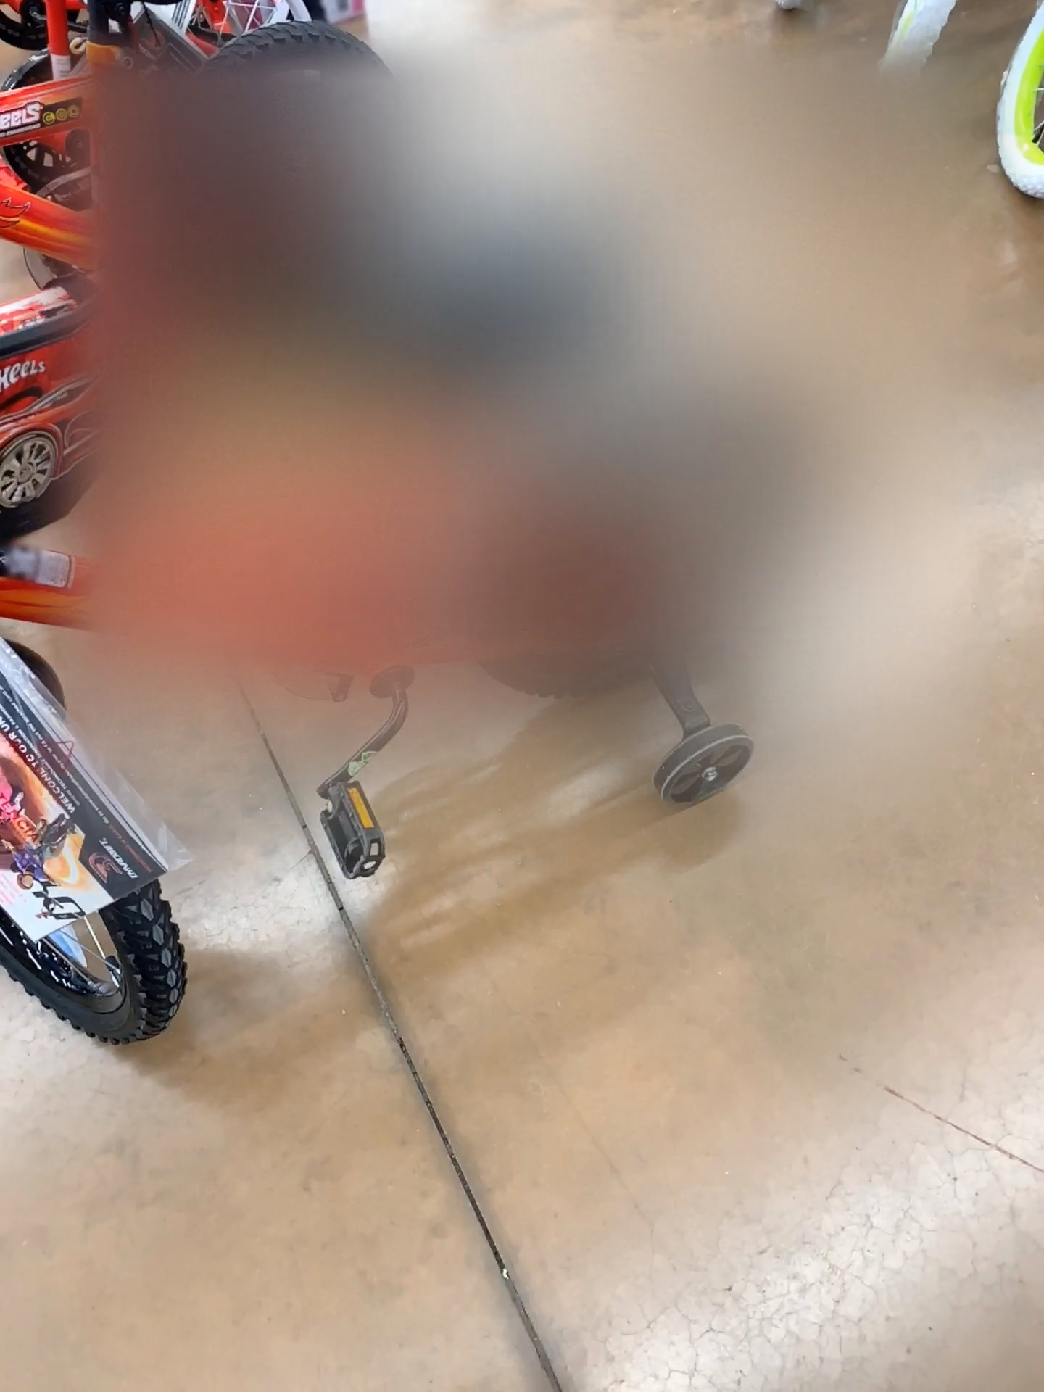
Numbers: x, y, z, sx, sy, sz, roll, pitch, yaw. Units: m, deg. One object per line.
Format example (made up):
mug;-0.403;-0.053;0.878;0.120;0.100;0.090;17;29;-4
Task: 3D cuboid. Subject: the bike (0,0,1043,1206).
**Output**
bike;-0.084;-0.115;0.947;0.740;0.824;0.511;-36;60;-13
